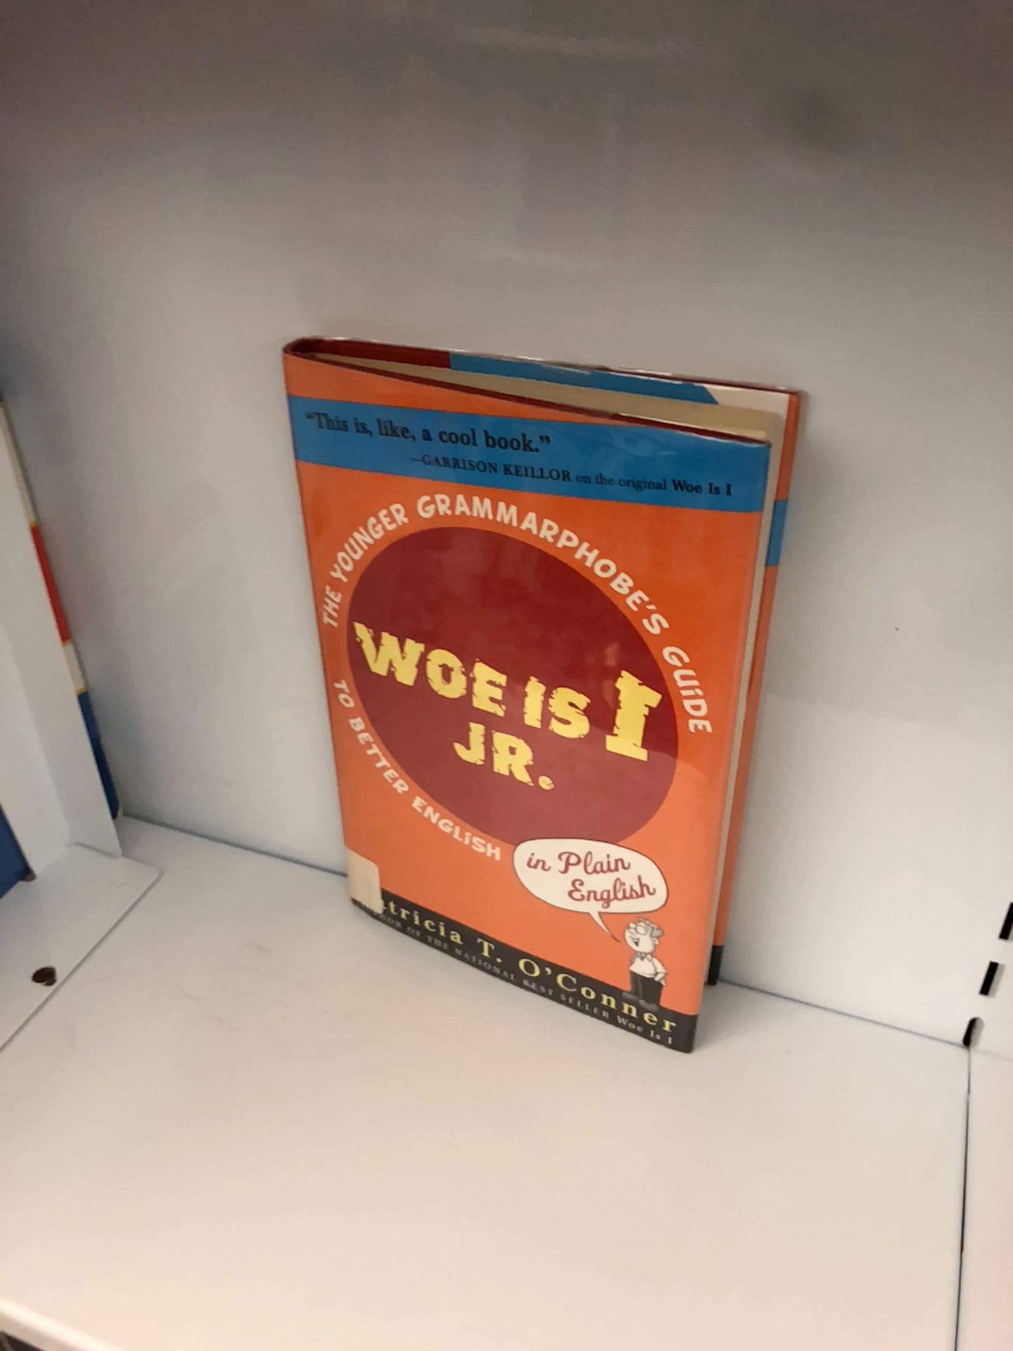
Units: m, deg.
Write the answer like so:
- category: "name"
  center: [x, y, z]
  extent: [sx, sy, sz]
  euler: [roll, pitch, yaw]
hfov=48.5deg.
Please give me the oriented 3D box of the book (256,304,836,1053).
- category: "book"
  center: [0.007, 0.006, 0.327]
  extent: [0.137, 0.199, 0.038]
  euler: [14, 35, 20]
